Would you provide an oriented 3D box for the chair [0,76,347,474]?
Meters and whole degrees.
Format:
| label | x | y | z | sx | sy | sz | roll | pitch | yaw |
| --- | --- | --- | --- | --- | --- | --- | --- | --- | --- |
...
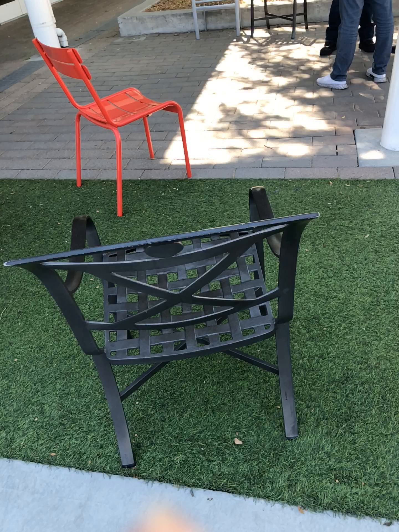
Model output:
| label | x | y | z | sx | sy | sz | roll | pitch | yaw |
| --- | --- | --- | --- | --- | --- | --- | --- | --- | --- |
| chair | -0.069 | 0.030 | 1.237 | 0.640 | 0.806 | 0.643 | -9 | 41 | -2 |
